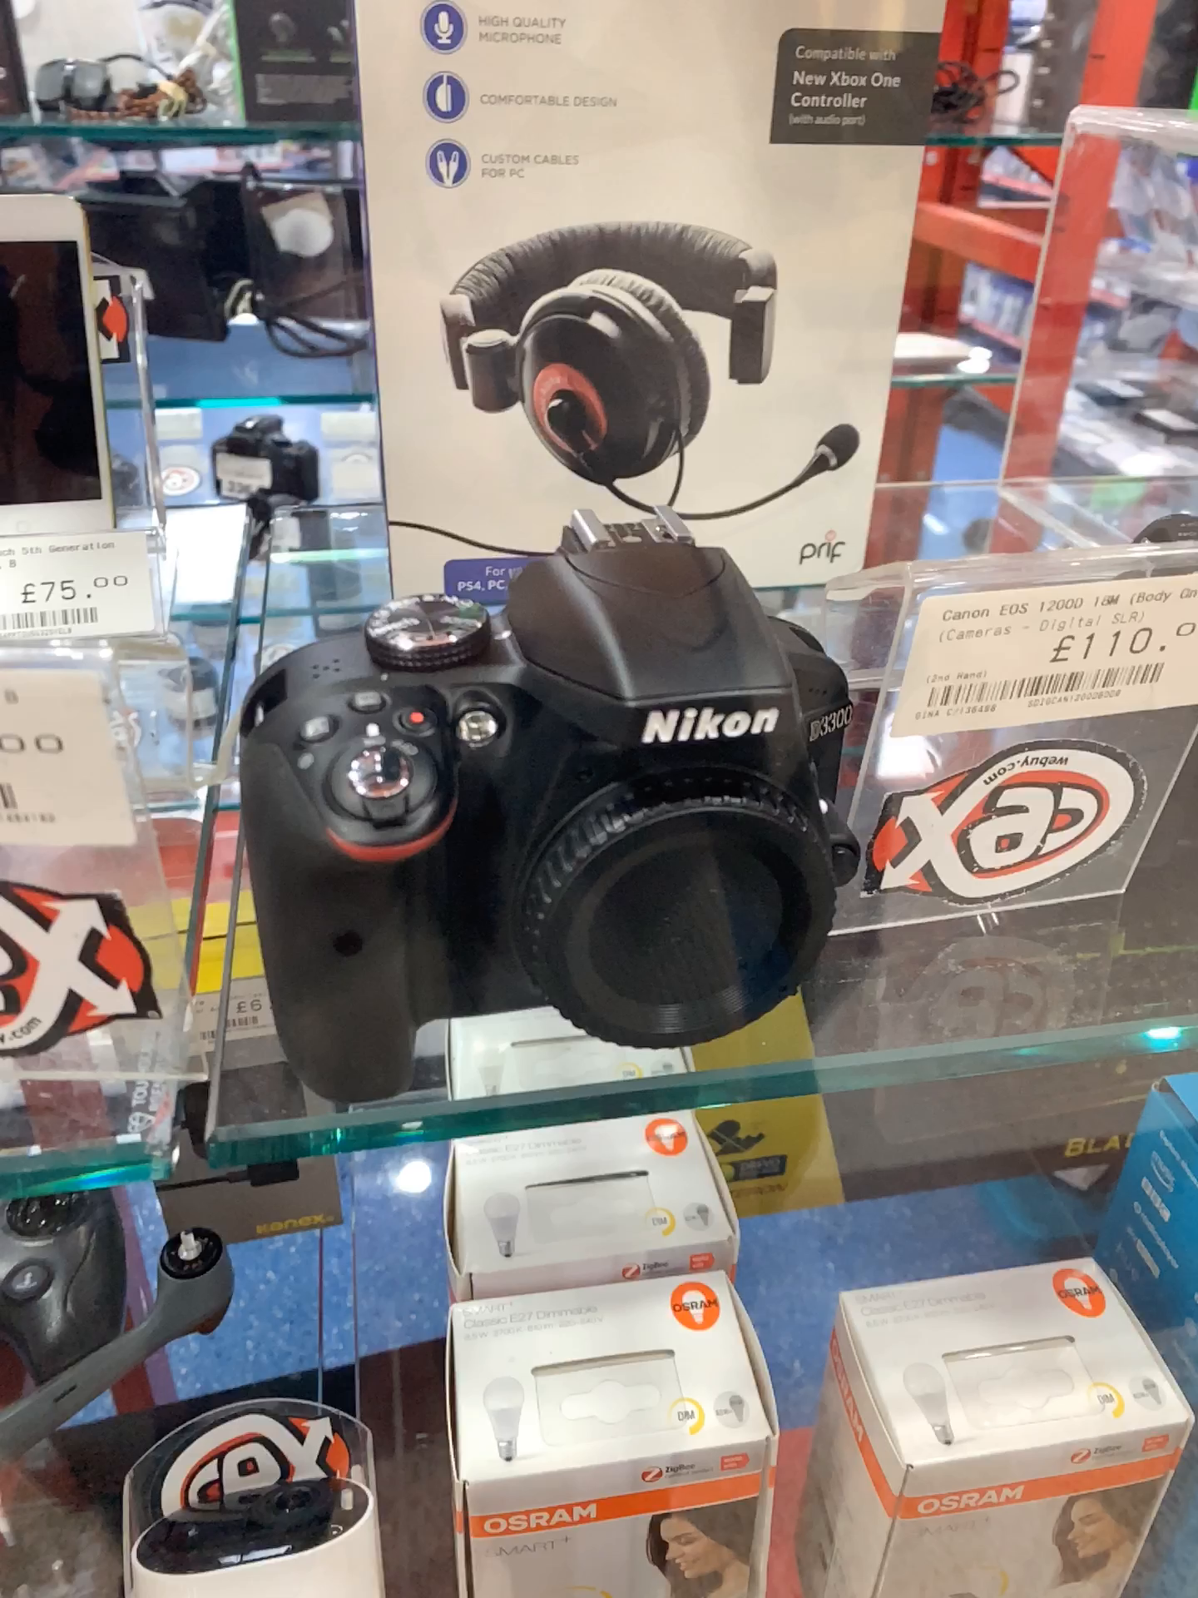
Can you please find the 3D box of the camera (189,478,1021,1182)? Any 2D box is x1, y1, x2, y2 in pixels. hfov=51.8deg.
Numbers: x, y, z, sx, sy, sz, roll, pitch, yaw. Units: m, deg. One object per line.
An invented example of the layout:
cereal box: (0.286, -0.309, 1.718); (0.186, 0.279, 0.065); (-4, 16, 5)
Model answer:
camera: (-0.010, -0.005, 0.252); (0.130, 0.079, 0.111); (-7, 33, -15)
